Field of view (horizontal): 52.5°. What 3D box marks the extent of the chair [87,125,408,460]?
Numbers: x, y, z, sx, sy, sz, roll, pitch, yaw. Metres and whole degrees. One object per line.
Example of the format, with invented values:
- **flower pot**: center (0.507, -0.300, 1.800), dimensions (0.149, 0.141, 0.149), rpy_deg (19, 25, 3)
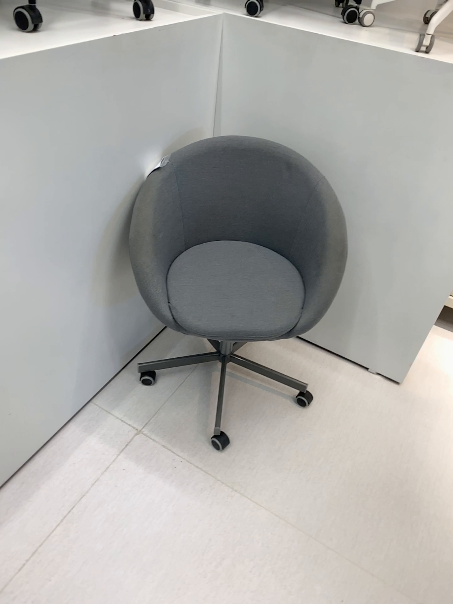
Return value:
- **chair**: center (0.017, -0.025, 1.574), dimensions (0.730, 0.827, 0.713), rpy_deg (4, 41, -4)
